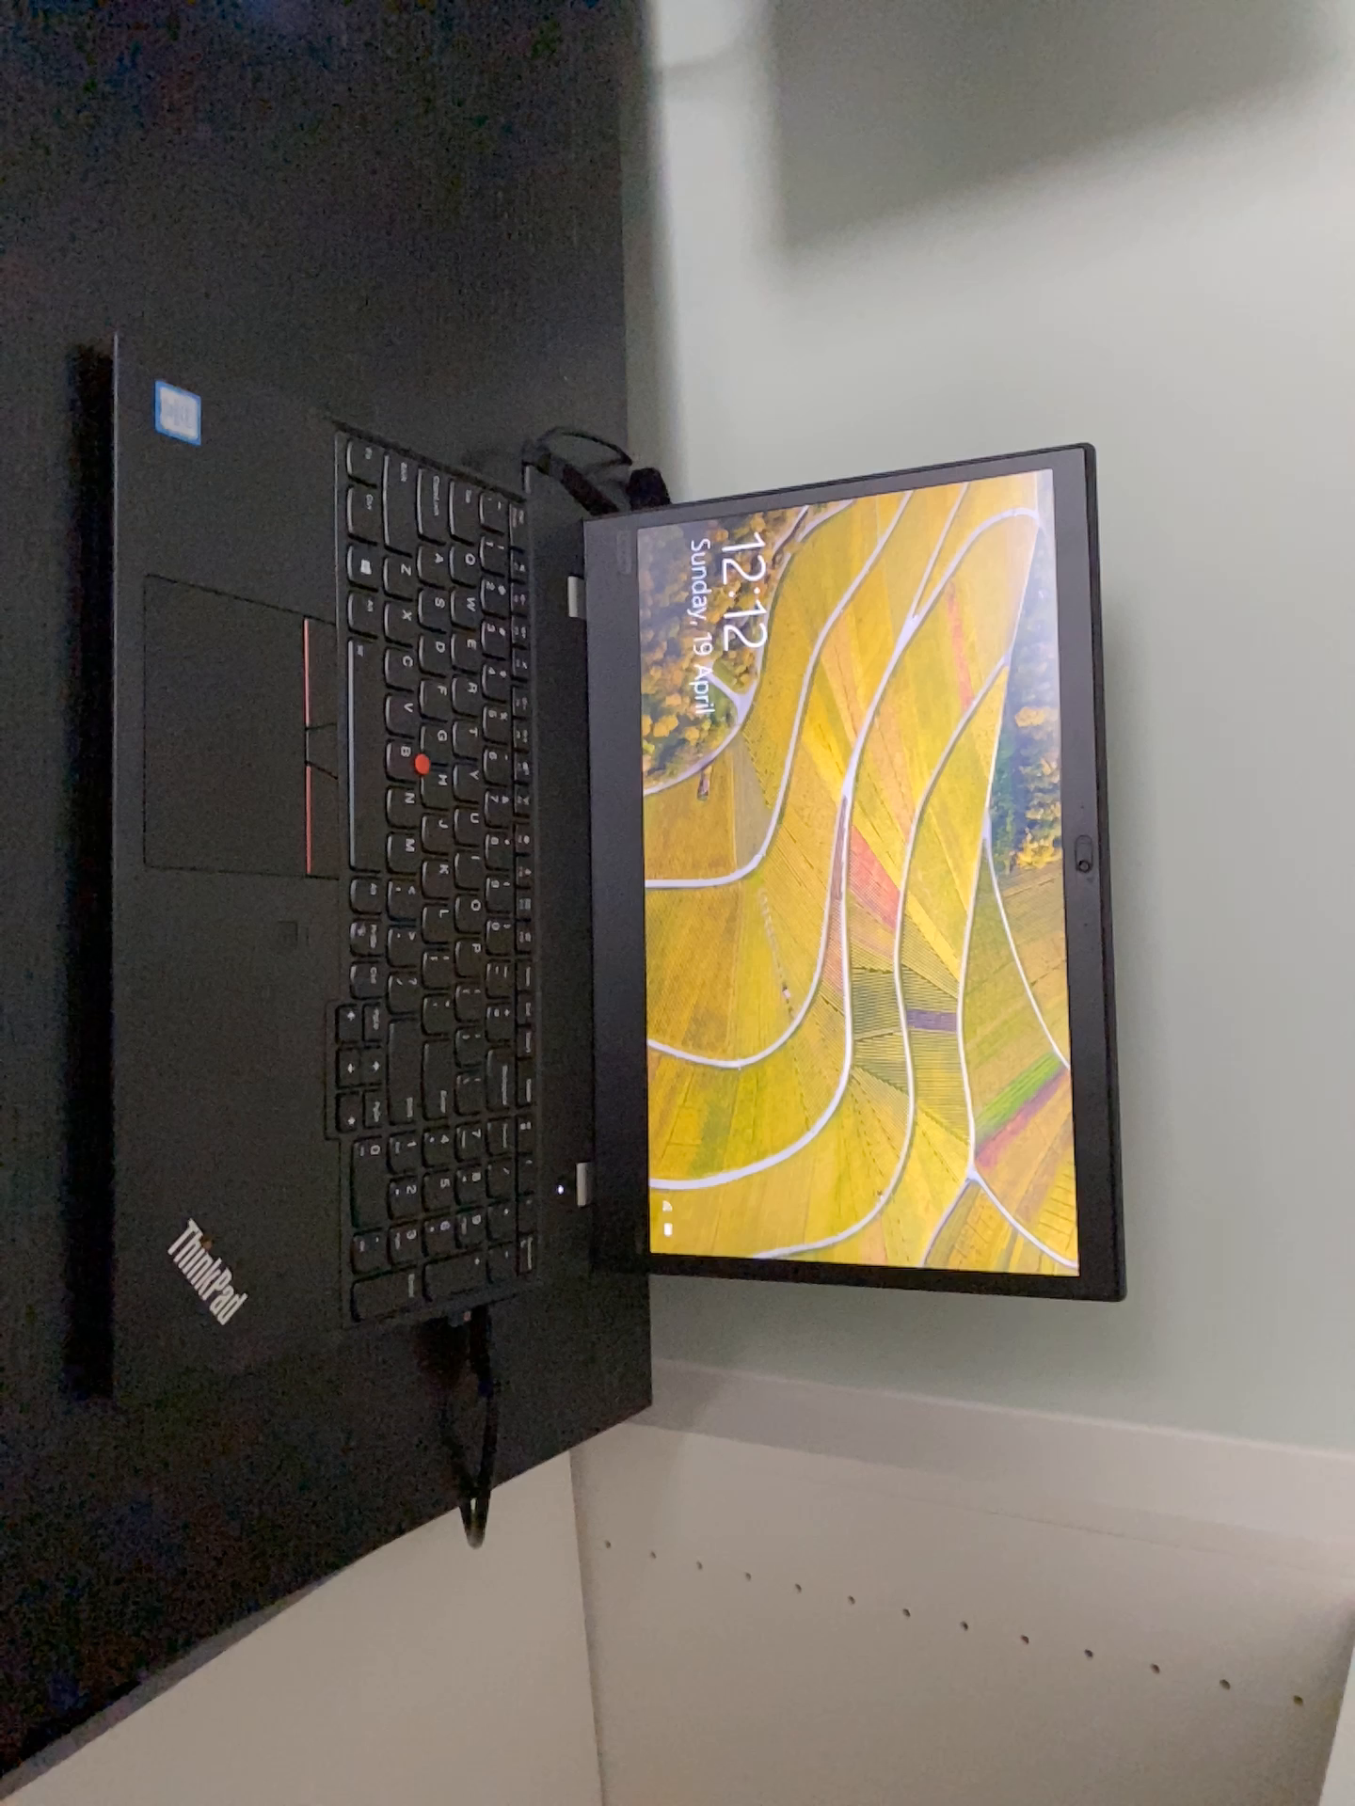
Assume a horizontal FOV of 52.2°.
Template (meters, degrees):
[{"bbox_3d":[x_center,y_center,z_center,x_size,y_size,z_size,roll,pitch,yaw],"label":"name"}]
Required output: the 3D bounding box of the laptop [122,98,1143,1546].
[{"bbox_3d":[0.002,-0.013,0.513,0.295,0.231,0.351,5,83,-56],"label":"laptop"}]
